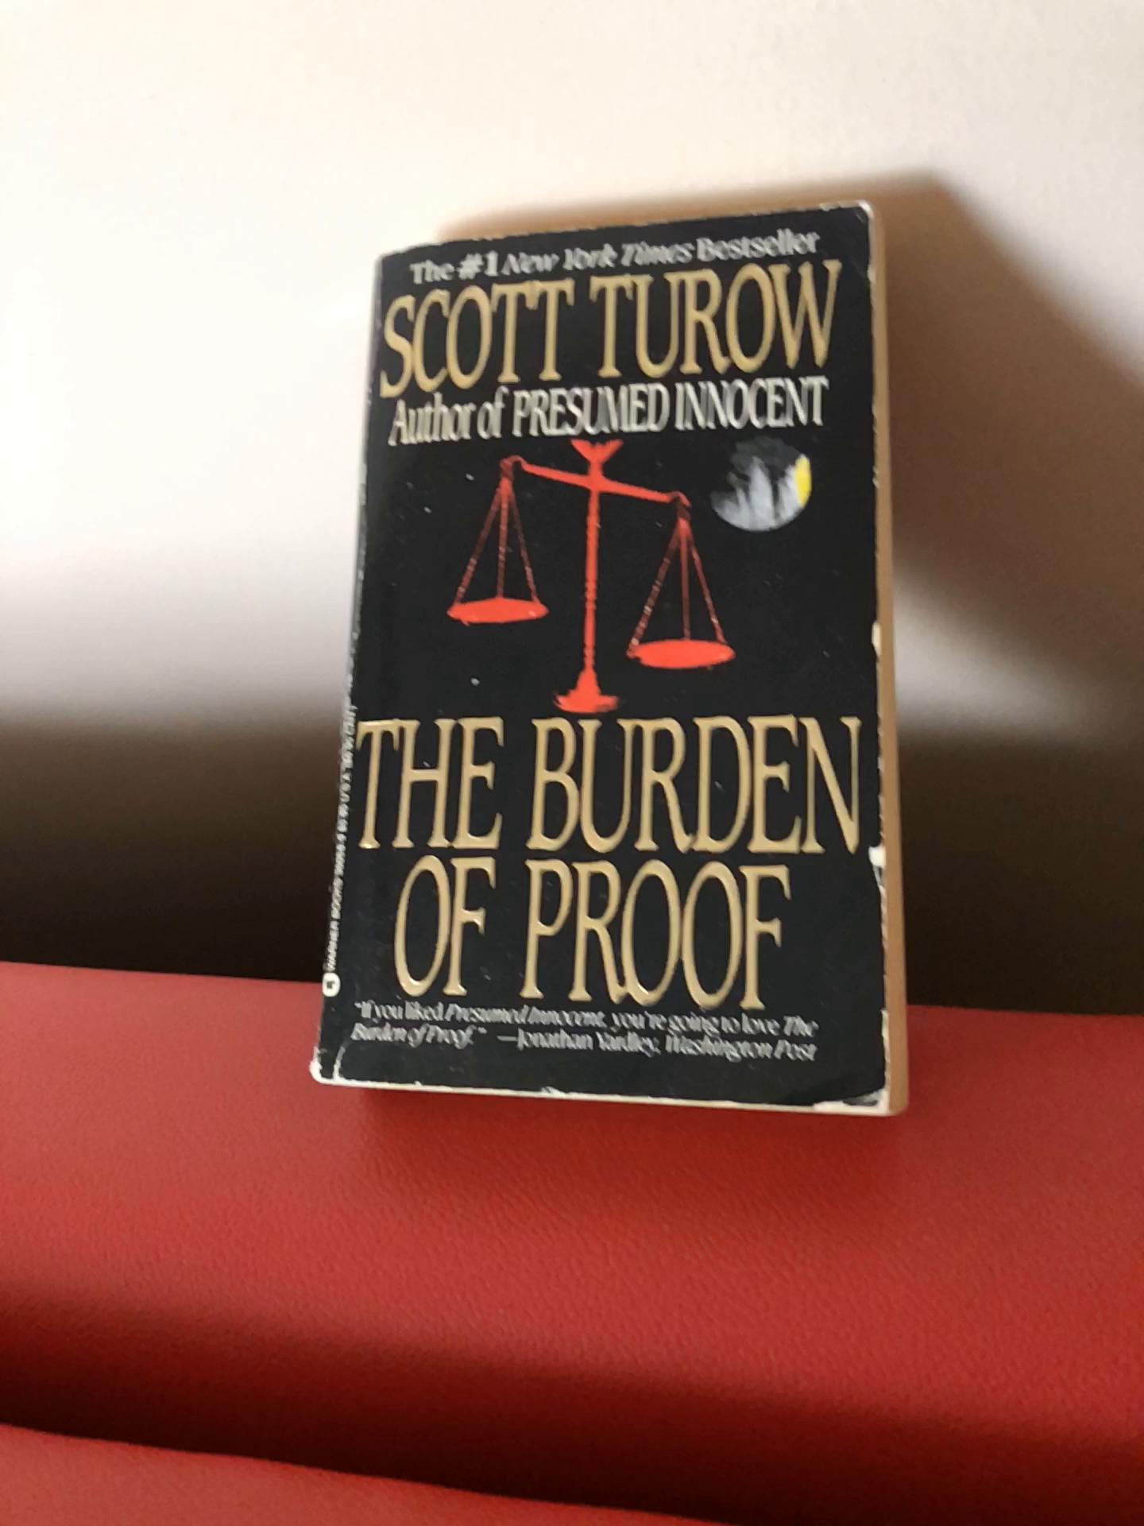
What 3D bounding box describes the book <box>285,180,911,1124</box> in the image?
[{"bbox_3d":[0.009,-0.021,0.253,0.106,0.045,0.171,0,77,11],"label":"book"}]
